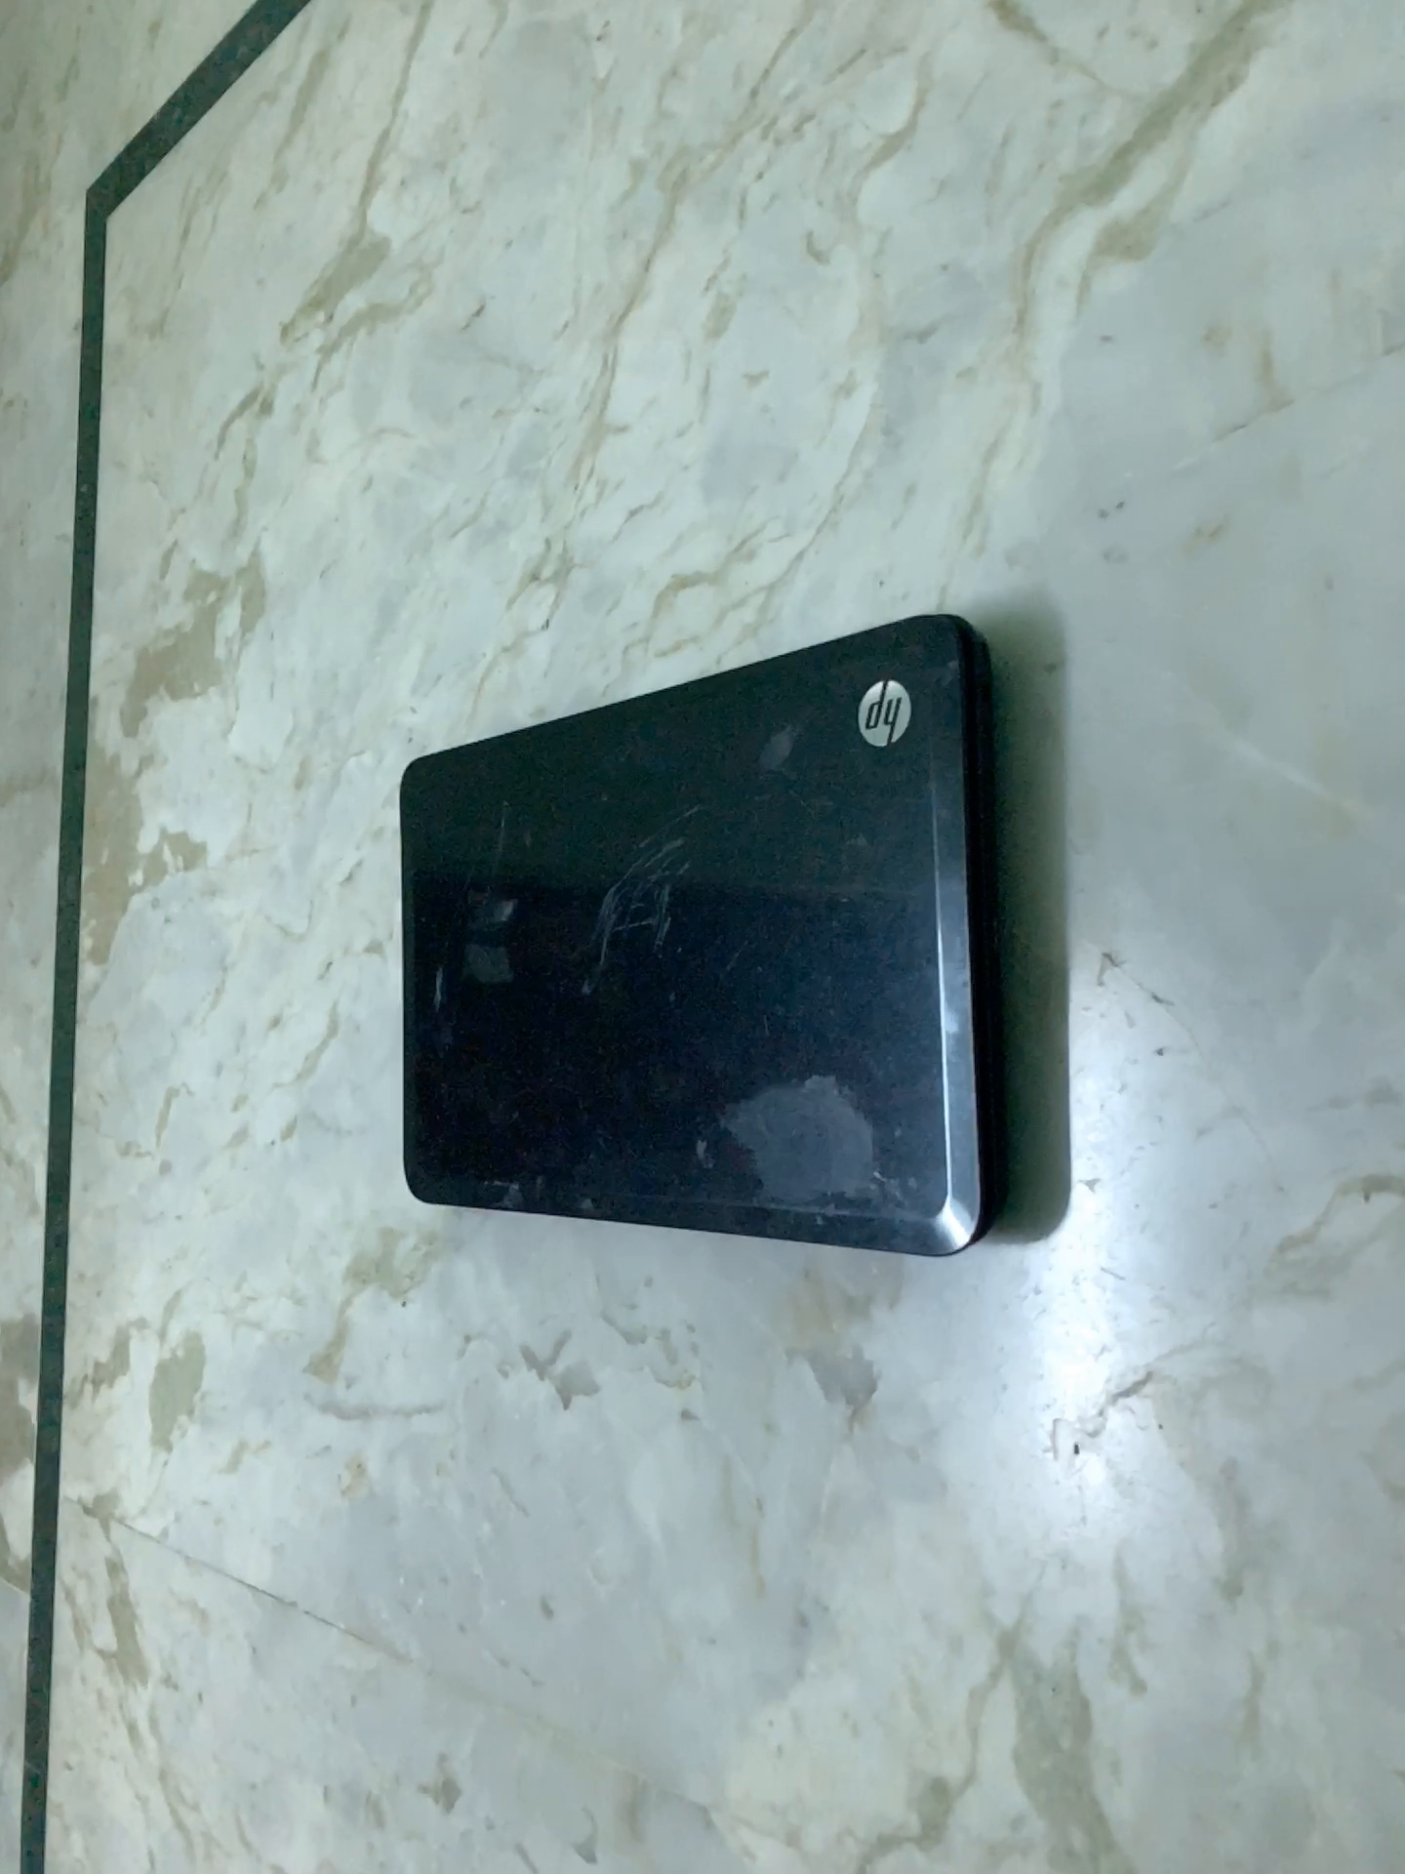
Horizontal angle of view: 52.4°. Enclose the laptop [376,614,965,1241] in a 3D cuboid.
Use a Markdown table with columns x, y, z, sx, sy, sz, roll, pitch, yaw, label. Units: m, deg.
| x | y | z | sx | sy | sz | roll | pitch | yaw | label |
| --- | --- | --- | --- | --- | --- | --- | --- | --- | --- |
| -0.033 | 0.007 | 0.623 | 0.335 | 0.022 | 0.221 | -7 | 76 | 46 | laptop |
